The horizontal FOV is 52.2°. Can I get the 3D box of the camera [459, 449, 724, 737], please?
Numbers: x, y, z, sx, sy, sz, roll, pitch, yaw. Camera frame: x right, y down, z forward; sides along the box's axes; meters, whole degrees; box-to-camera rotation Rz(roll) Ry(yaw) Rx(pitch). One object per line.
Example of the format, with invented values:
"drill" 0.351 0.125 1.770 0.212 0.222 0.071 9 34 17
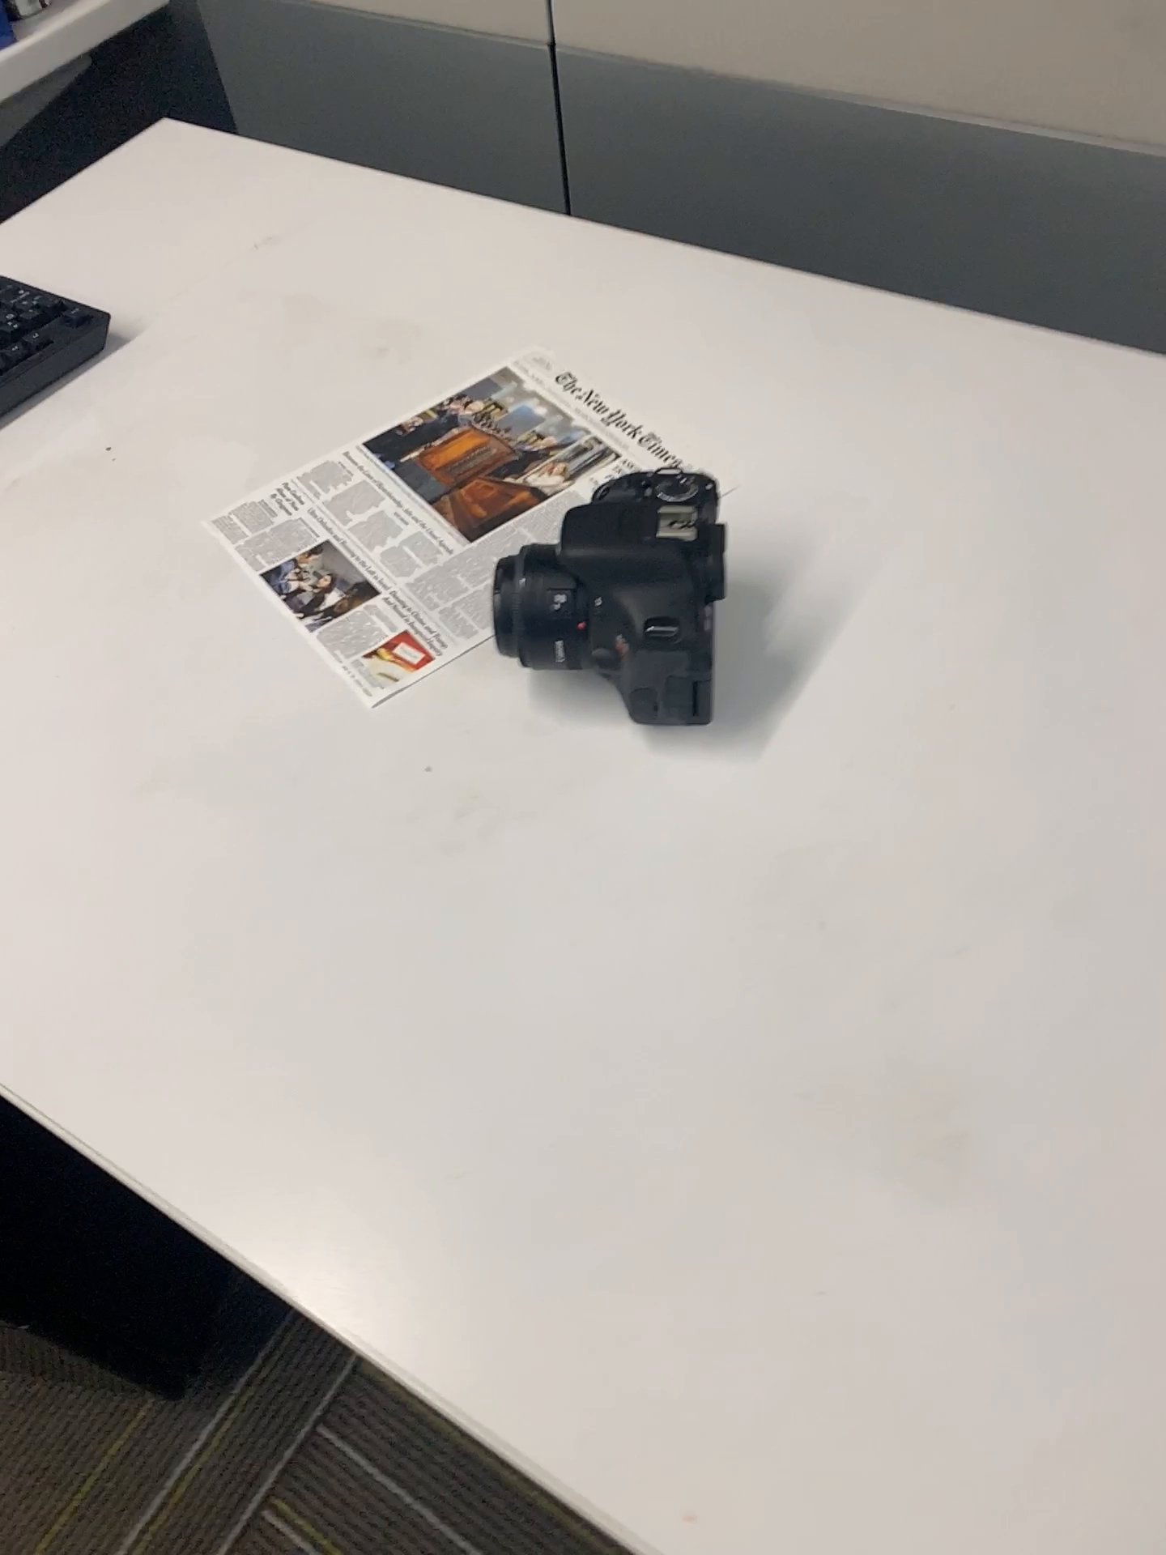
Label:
"camera" 0.010 -0.093 0.596 0.114 0.090 0.109 3 54 8
